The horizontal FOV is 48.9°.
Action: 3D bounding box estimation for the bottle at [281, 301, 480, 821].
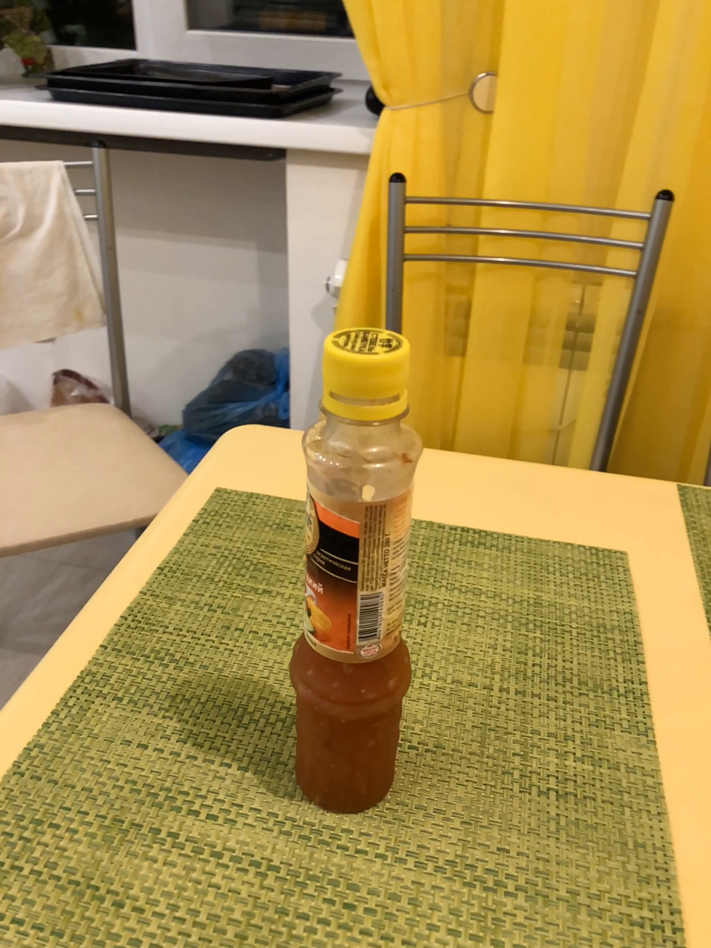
[{"bbox_3d":[0.004,0.043,0.313,0.060,0.208,0.060,2,30,-1],"label":"bottle"}]
